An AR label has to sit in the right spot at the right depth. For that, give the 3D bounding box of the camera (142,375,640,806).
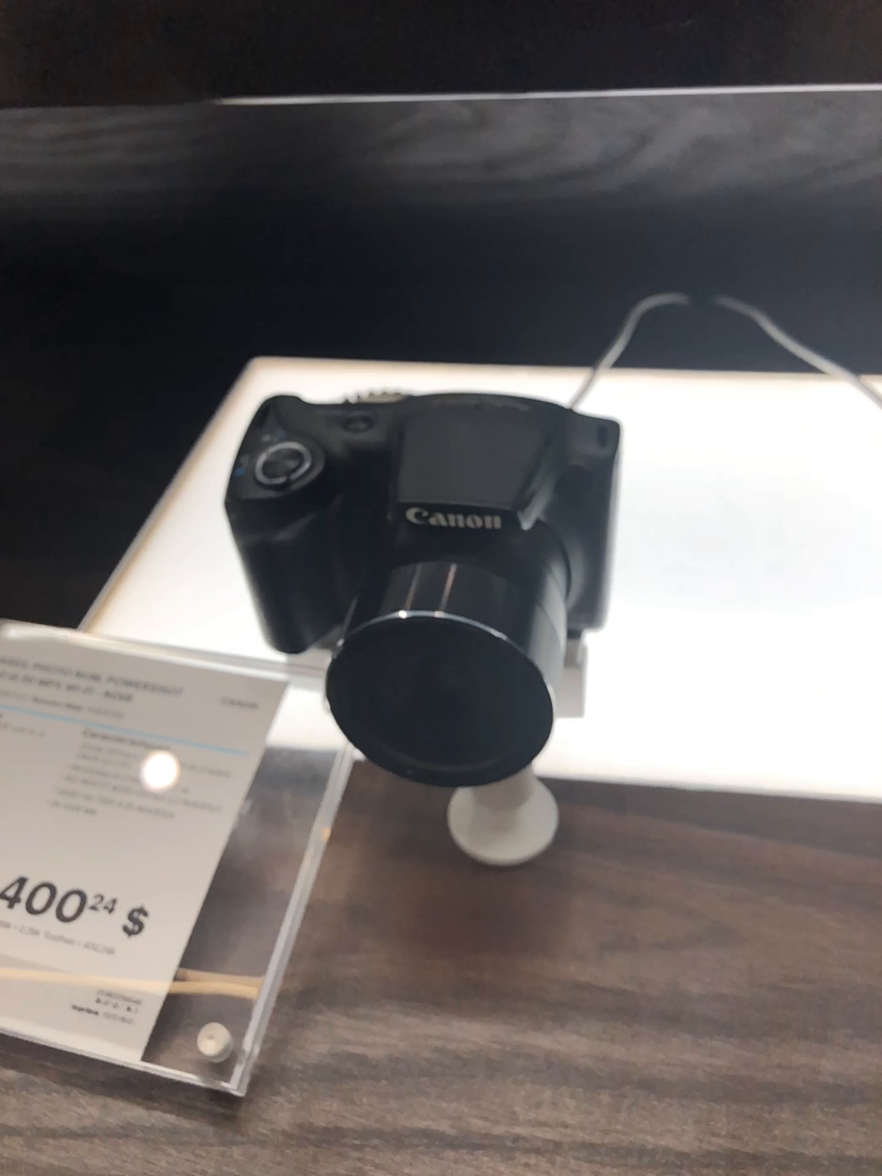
[{"bbox_3d":[-0.005,-0.002,0.256,0.102,0.074,0.081,1,39,7],"label":"camera"}]
